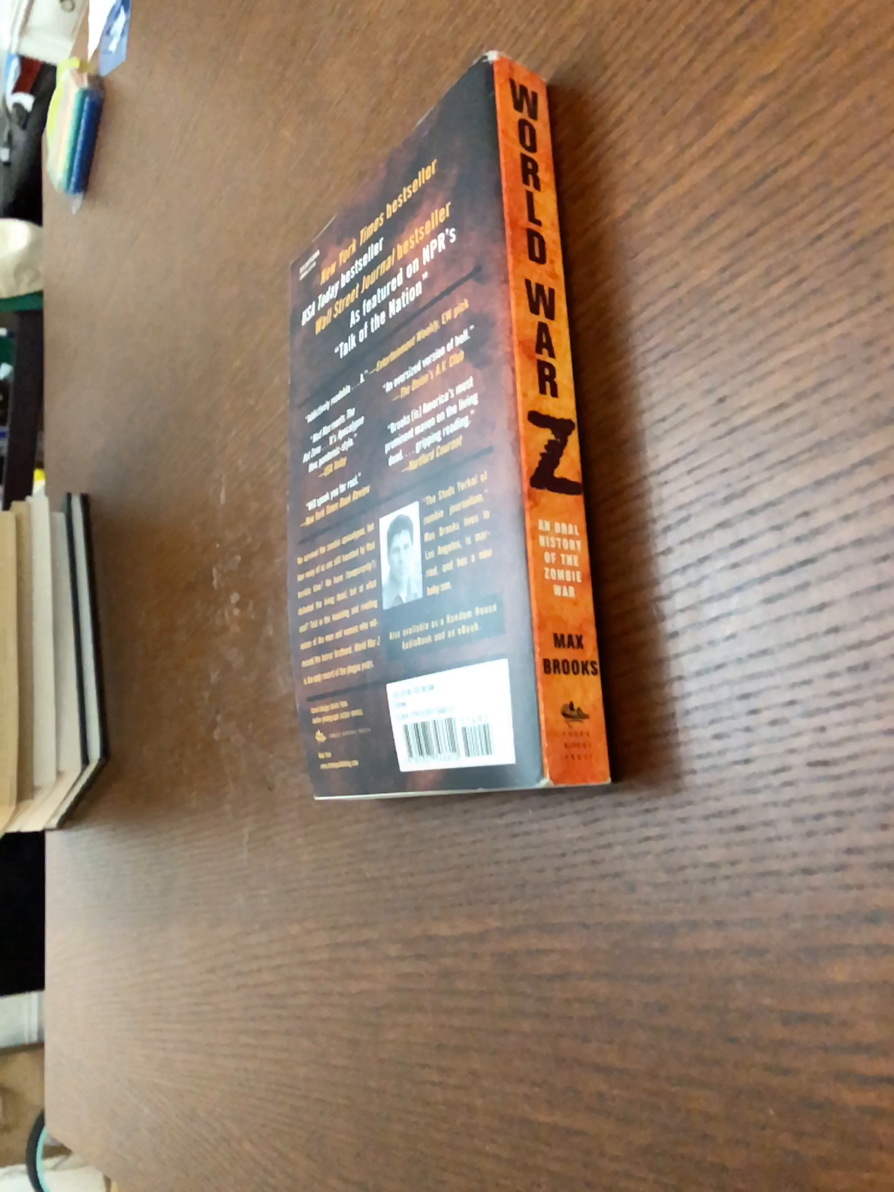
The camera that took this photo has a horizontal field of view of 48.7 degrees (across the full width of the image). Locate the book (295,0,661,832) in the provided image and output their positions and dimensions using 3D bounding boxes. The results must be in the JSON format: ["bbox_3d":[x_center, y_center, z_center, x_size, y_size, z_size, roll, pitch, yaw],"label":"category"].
[{"bbox_3d":[-0.003,-0.041,0.313,0.141,0.030,0.220,-18,72,56],"label":"book"}]
